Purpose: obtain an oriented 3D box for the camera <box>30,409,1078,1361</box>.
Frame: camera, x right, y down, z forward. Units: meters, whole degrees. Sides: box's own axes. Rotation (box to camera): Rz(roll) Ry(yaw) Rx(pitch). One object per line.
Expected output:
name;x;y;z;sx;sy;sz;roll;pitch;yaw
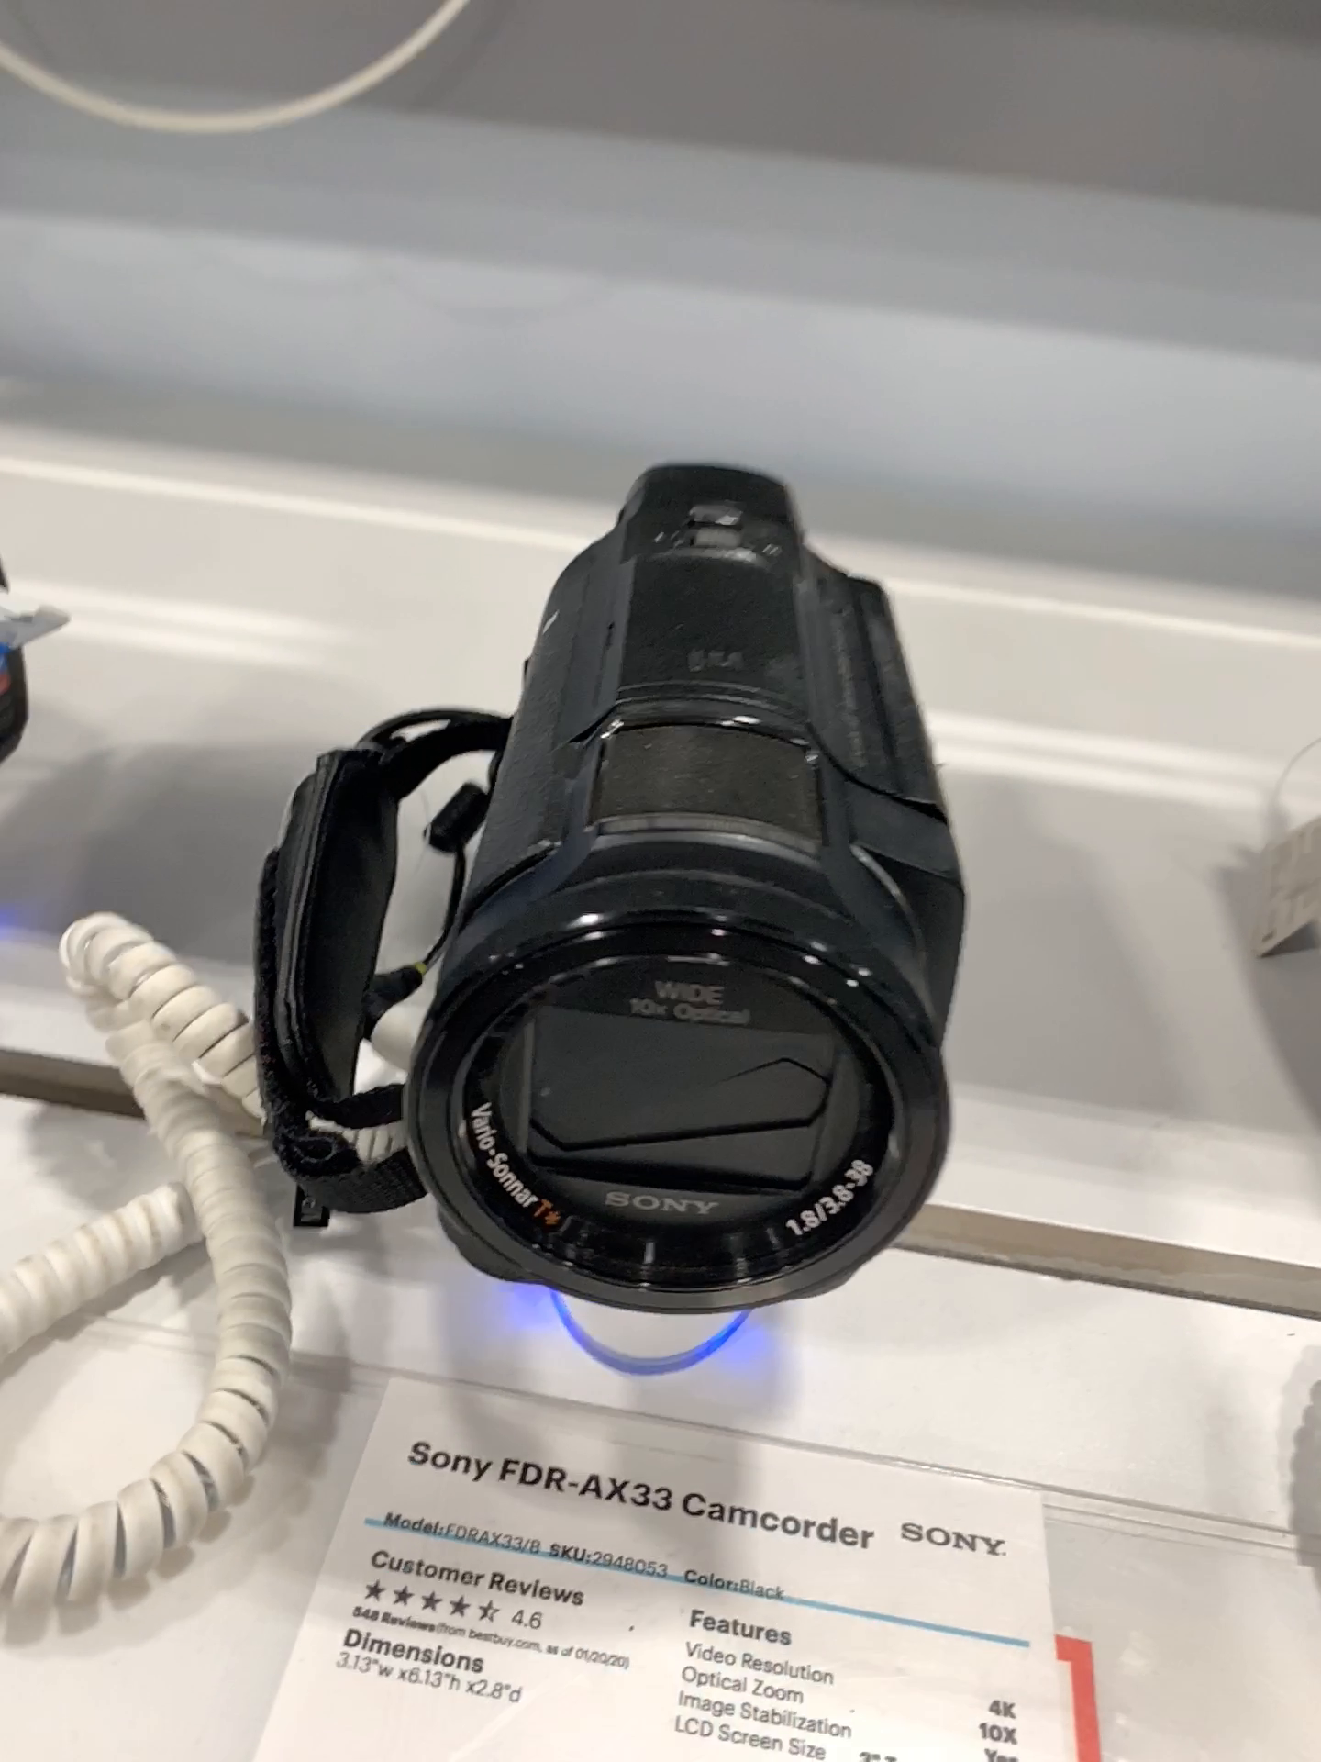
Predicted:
camera;-0.009;-0.012;0.209;0.102;0.067;0.136;6;35;0
